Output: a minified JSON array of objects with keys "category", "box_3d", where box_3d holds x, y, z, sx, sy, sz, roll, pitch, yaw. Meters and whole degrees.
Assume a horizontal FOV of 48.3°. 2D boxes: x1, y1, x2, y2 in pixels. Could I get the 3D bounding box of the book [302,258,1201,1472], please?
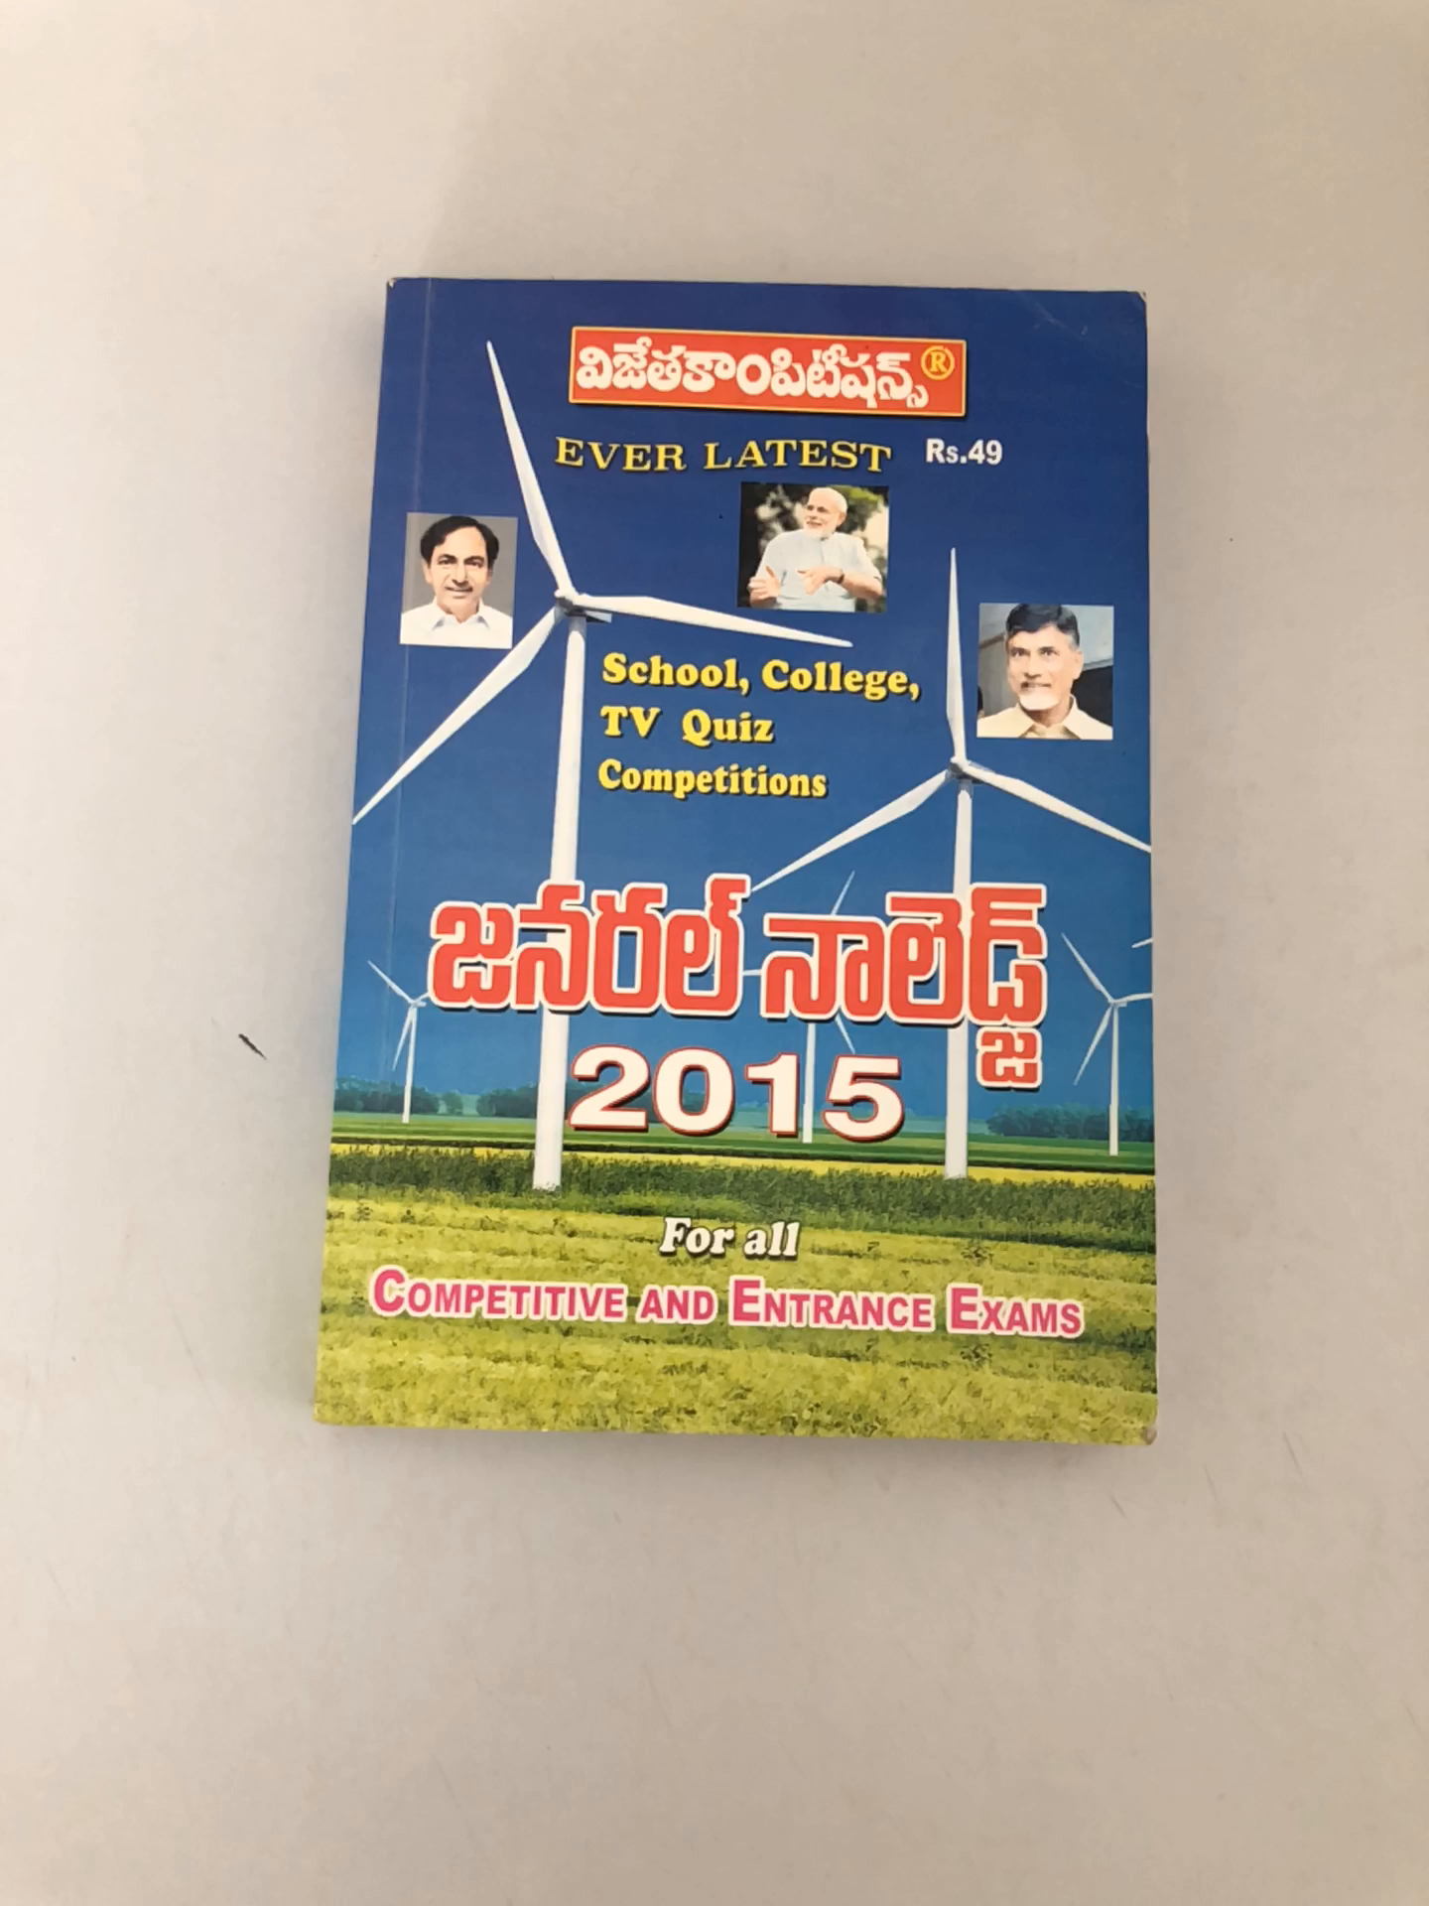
[{"category":"book","box_3d":[0.008,-0.016,0.251,0.129,0.022,0.182,2,82,-1]}]
